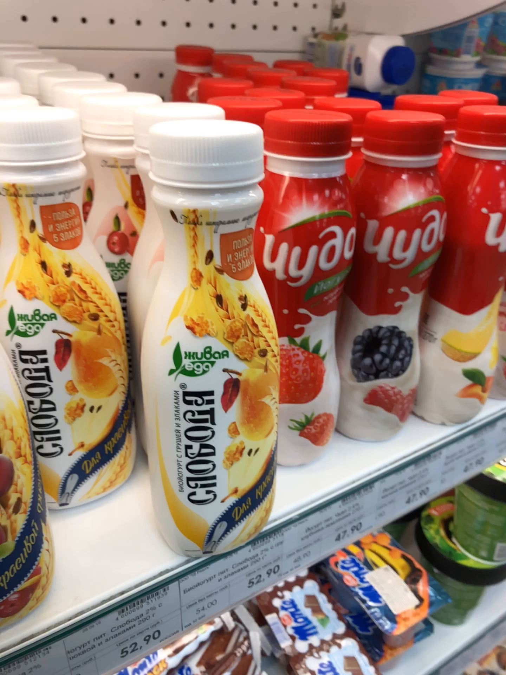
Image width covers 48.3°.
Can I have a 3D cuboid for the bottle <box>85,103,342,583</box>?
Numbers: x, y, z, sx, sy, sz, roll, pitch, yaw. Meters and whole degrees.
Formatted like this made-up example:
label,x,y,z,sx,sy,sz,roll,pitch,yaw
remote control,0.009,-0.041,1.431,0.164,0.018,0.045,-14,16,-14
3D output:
label,x,y,z,sx,sy,sz,roll,pitch,yaw
bottle,-0.019,0.006,0.243,0.070,0.189,0.060,-14,33,-27
